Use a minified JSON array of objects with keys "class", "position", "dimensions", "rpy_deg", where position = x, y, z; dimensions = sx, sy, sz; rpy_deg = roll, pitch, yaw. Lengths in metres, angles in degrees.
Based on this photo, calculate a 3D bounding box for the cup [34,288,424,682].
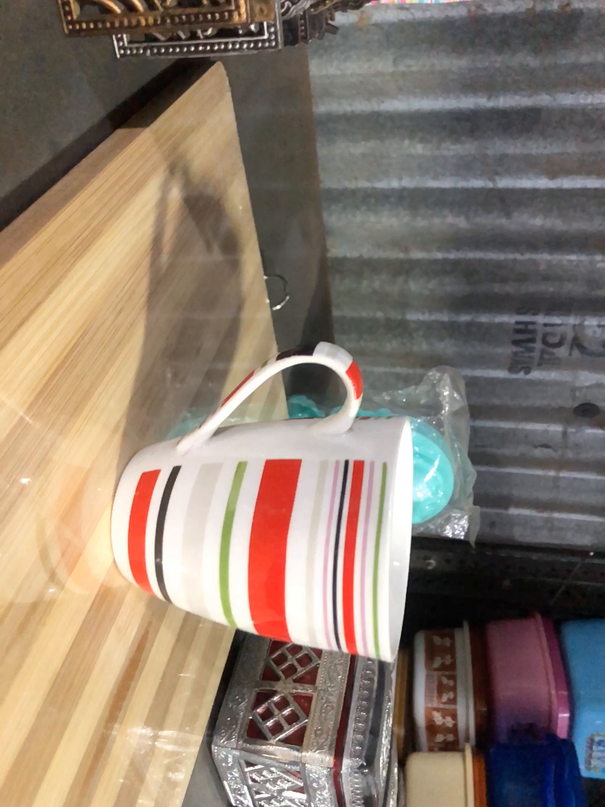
[{"class":"cup","position":[-0.010,0.029,0.238],"dimensions":[0.080,0.100,0.110],"rpy_deg":[-76,163,-45]}]
